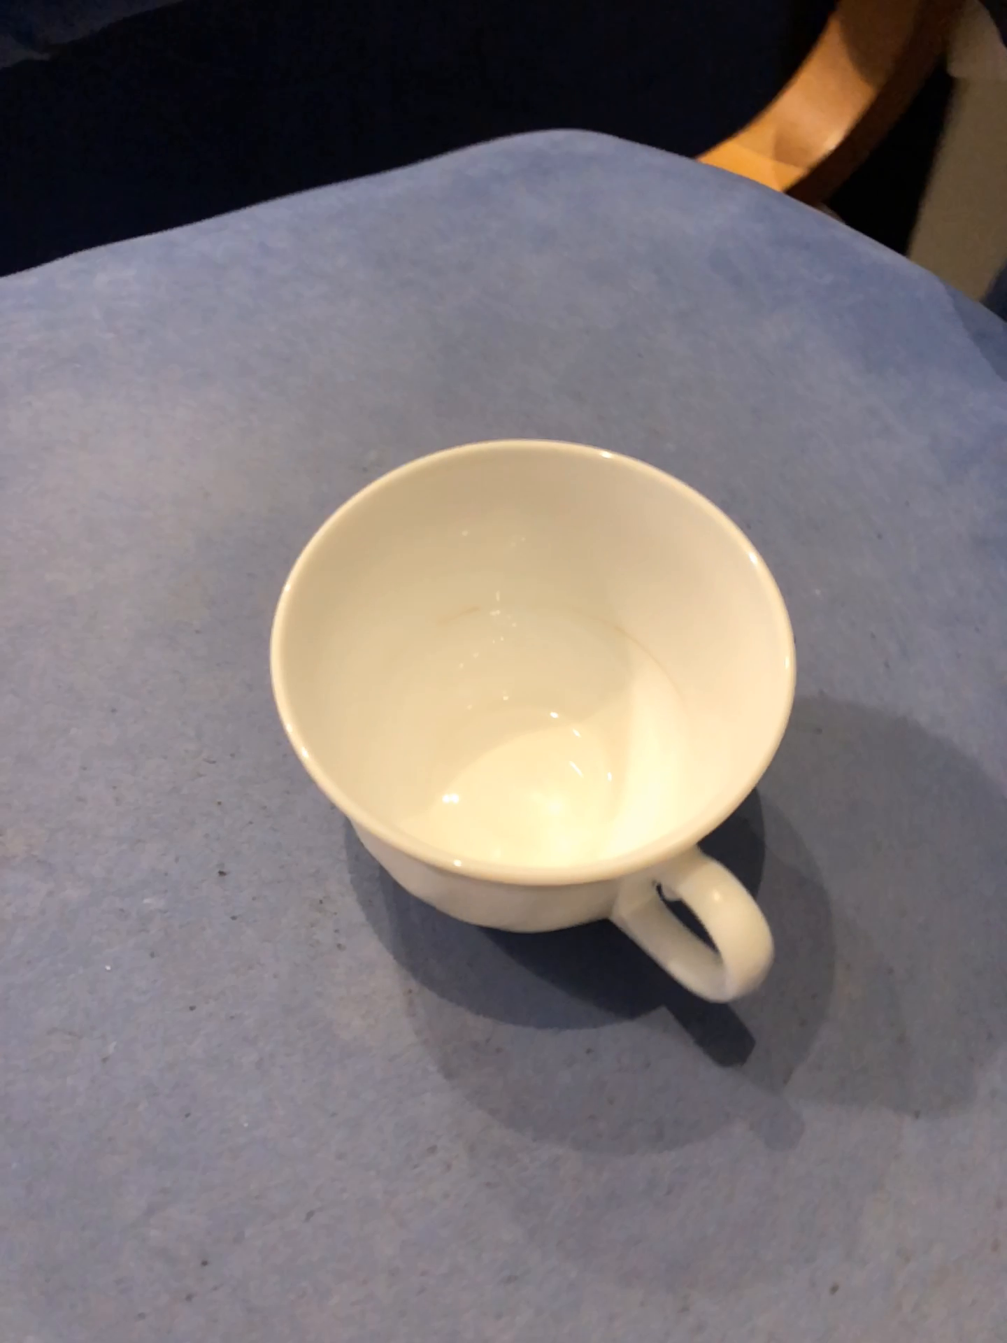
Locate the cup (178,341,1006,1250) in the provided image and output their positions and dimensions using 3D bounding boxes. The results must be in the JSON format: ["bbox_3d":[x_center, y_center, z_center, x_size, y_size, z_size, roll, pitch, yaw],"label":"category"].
[{"bbox_3d":[0.012,0.014,0.188,0.080,0.050,0.120,-27,62,-16],"label":"cup"}]
